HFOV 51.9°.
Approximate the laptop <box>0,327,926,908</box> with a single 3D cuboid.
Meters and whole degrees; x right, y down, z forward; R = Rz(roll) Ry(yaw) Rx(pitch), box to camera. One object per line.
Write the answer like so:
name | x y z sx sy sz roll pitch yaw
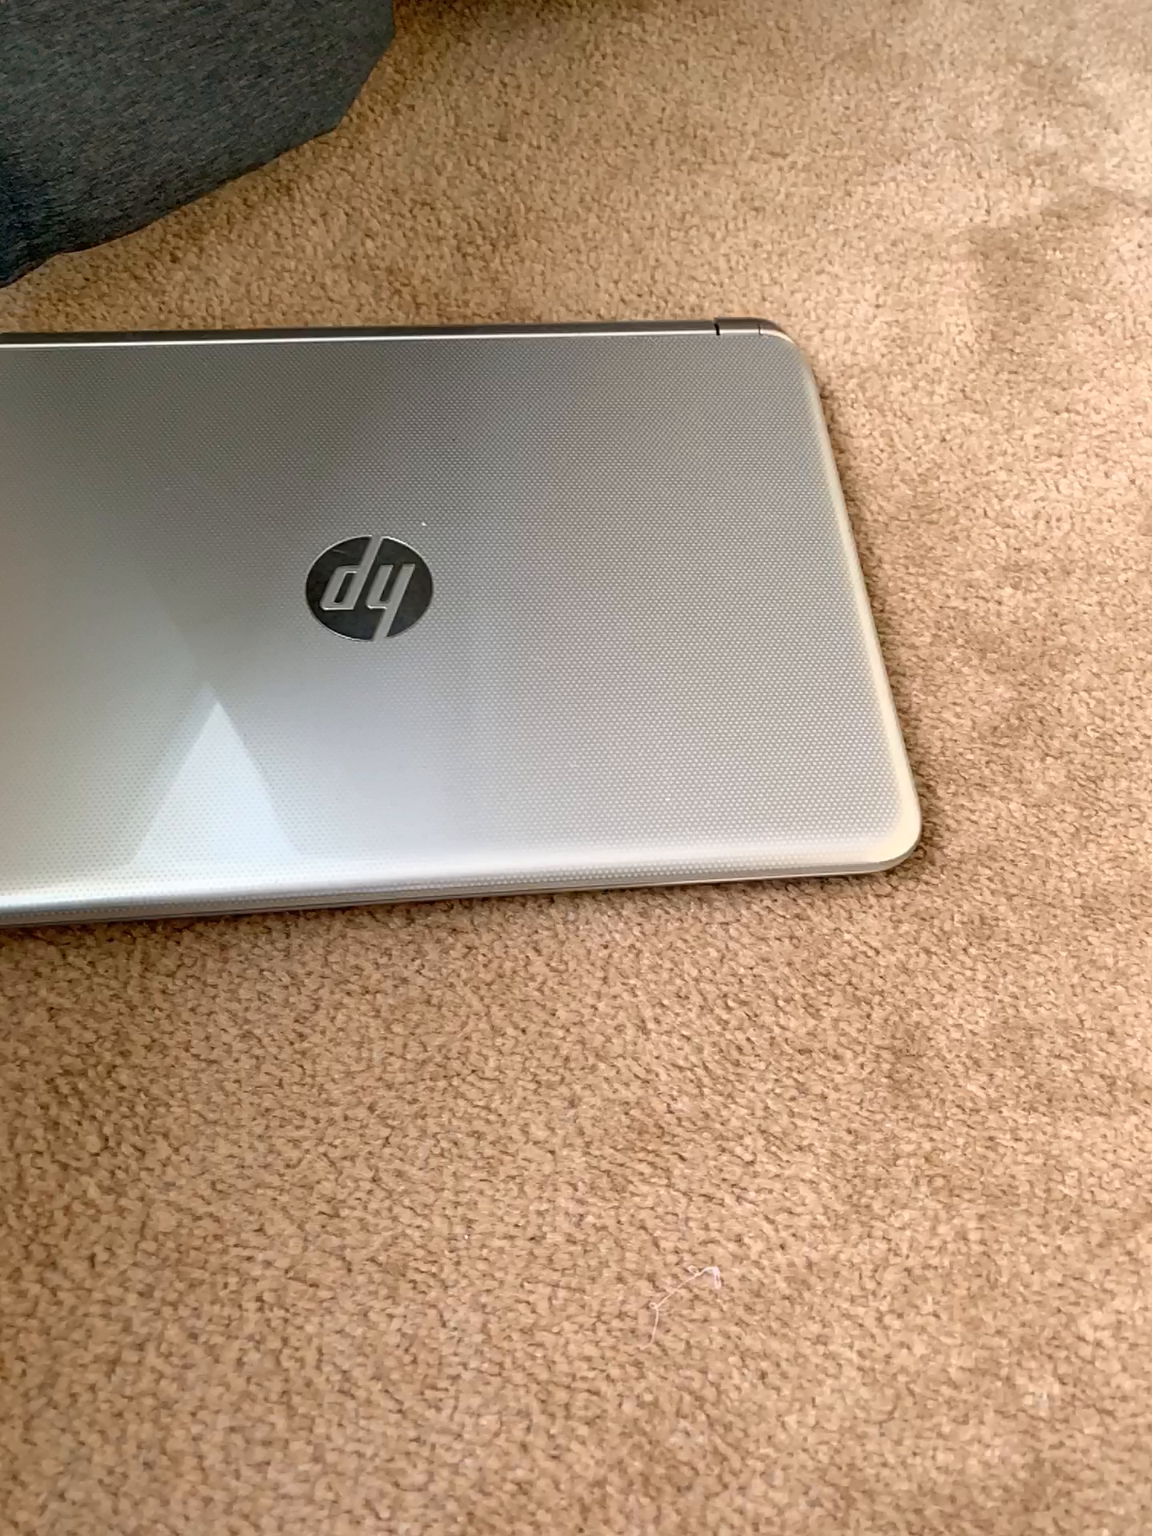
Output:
laptop | -0.069 -0.066 0.398 0.328 0.002 0.223 -3 61 -4
